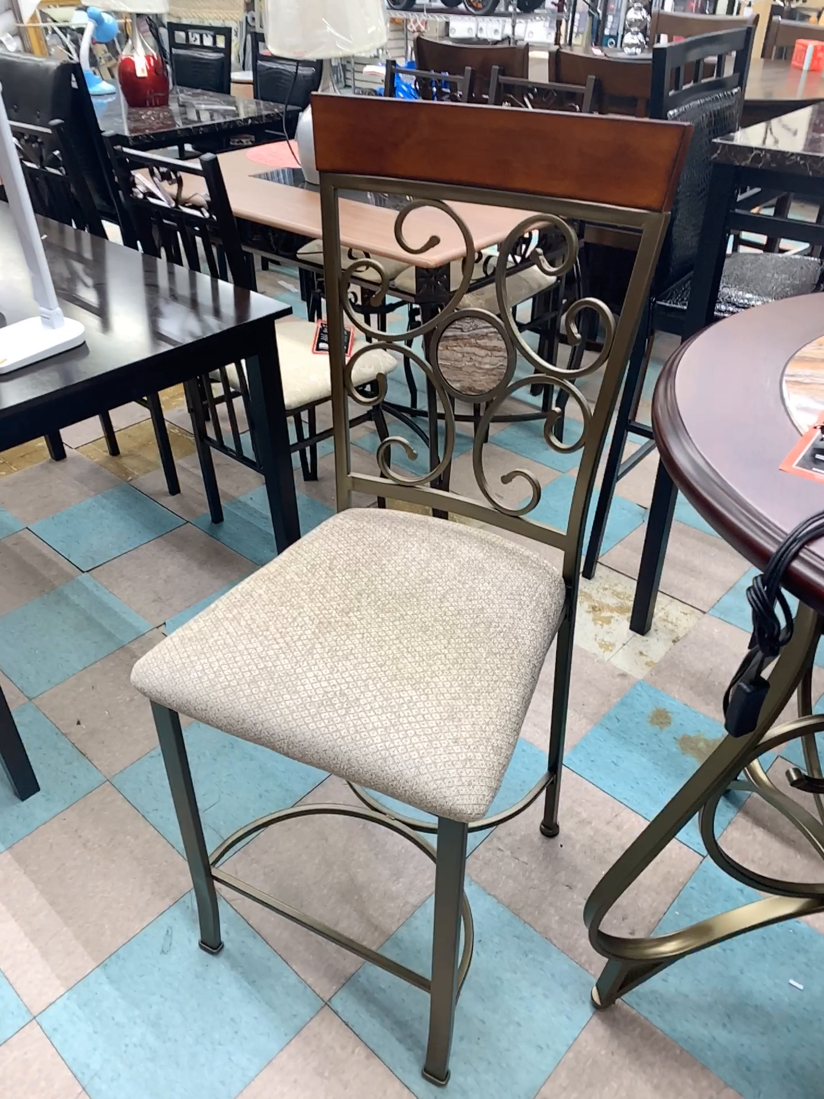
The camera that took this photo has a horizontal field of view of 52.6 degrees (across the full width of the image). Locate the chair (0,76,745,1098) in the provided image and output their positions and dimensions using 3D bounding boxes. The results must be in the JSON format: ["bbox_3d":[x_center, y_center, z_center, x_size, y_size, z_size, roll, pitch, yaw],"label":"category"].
[{"bbox_3d":[-0.026,0.067,1.052,0.511,1.074,0.563,18,40,23],"label":"chair"}]
